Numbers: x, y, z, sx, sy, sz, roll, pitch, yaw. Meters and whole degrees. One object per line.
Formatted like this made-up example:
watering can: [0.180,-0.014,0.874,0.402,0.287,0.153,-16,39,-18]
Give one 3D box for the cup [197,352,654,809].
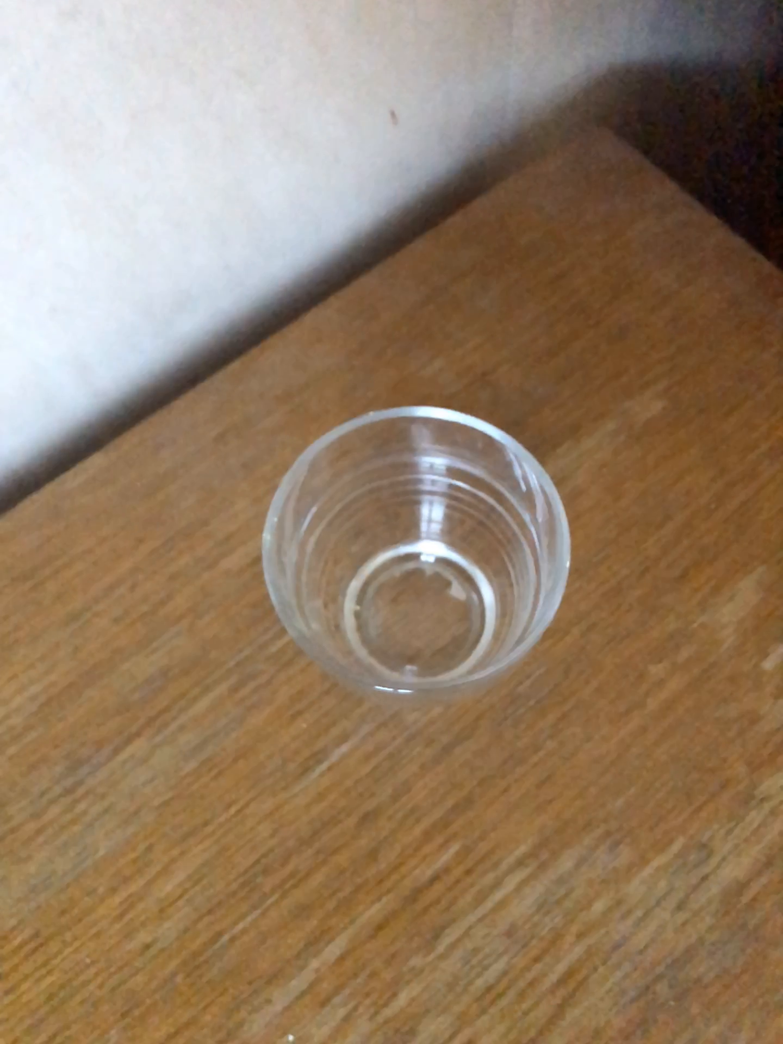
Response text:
cup: [0.011,0.017,0.236,0.080,0.060,0.080,-1,66,2]
